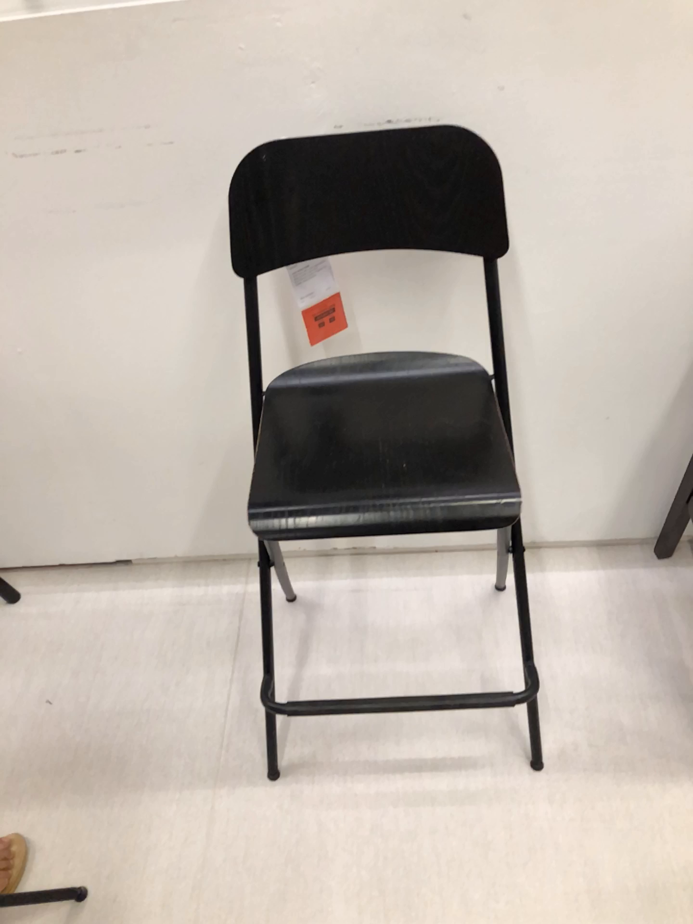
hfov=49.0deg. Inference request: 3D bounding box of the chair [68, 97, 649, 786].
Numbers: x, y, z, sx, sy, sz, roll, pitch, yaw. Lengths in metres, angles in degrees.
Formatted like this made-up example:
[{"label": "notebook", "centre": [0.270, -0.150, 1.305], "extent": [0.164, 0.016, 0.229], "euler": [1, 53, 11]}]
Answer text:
[{"label": "chair", "centre": [0.049, 0.038, 1.113], "extent": [0.490, 0.884, 0.473], "euler": [-4, 43, 4]}]
